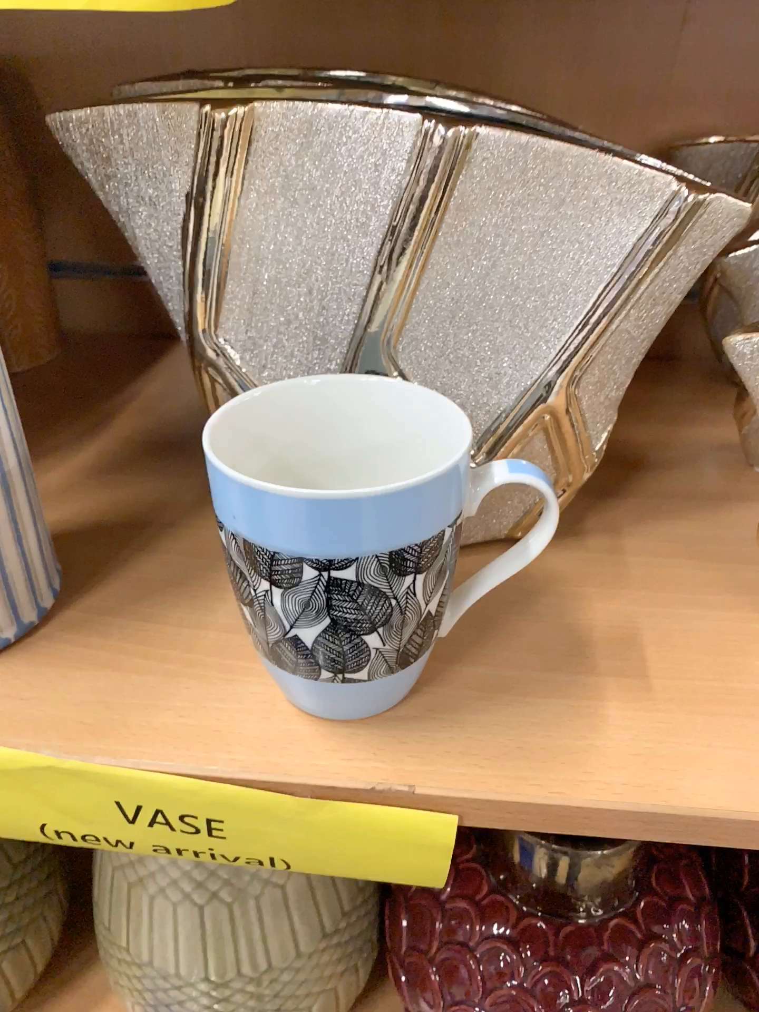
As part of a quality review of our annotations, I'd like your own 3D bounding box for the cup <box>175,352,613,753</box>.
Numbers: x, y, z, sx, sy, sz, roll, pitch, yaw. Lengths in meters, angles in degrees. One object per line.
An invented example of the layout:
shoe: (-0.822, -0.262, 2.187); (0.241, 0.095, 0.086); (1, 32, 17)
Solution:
cup: (0.000, 0.010, 0.252); (0.110, 0.090, 0.080); (-4, 29, -7)
